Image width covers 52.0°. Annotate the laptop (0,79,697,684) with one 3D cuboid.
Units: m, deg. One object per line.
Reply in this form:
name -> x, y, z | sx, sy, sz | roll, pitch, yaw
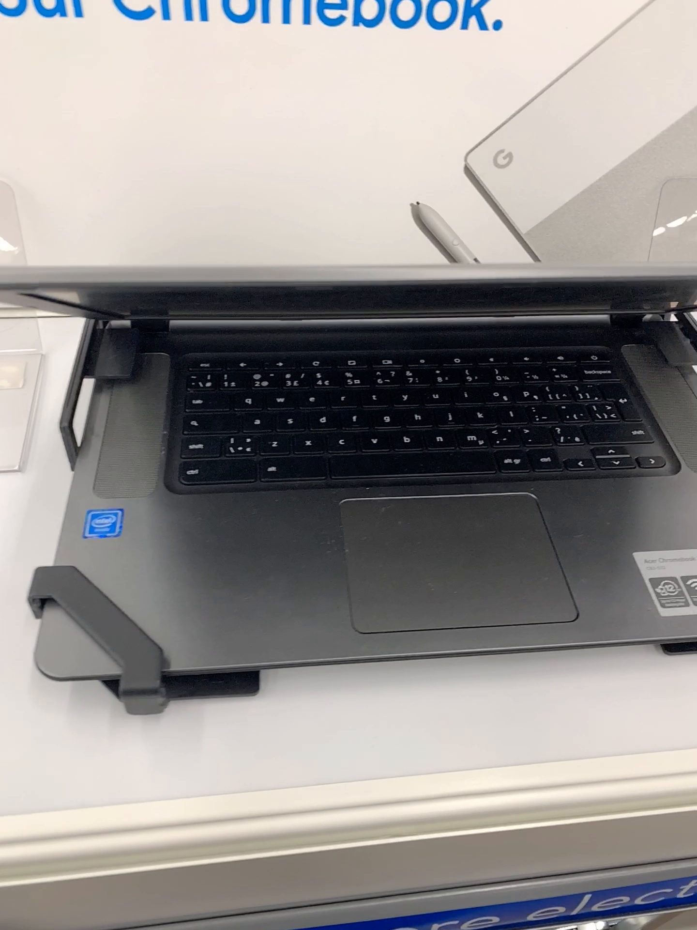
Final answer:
laptop -> 0.039, -0.046, 0.274 | 0.303, 0.119, 0.198 | -2, 46, -6
